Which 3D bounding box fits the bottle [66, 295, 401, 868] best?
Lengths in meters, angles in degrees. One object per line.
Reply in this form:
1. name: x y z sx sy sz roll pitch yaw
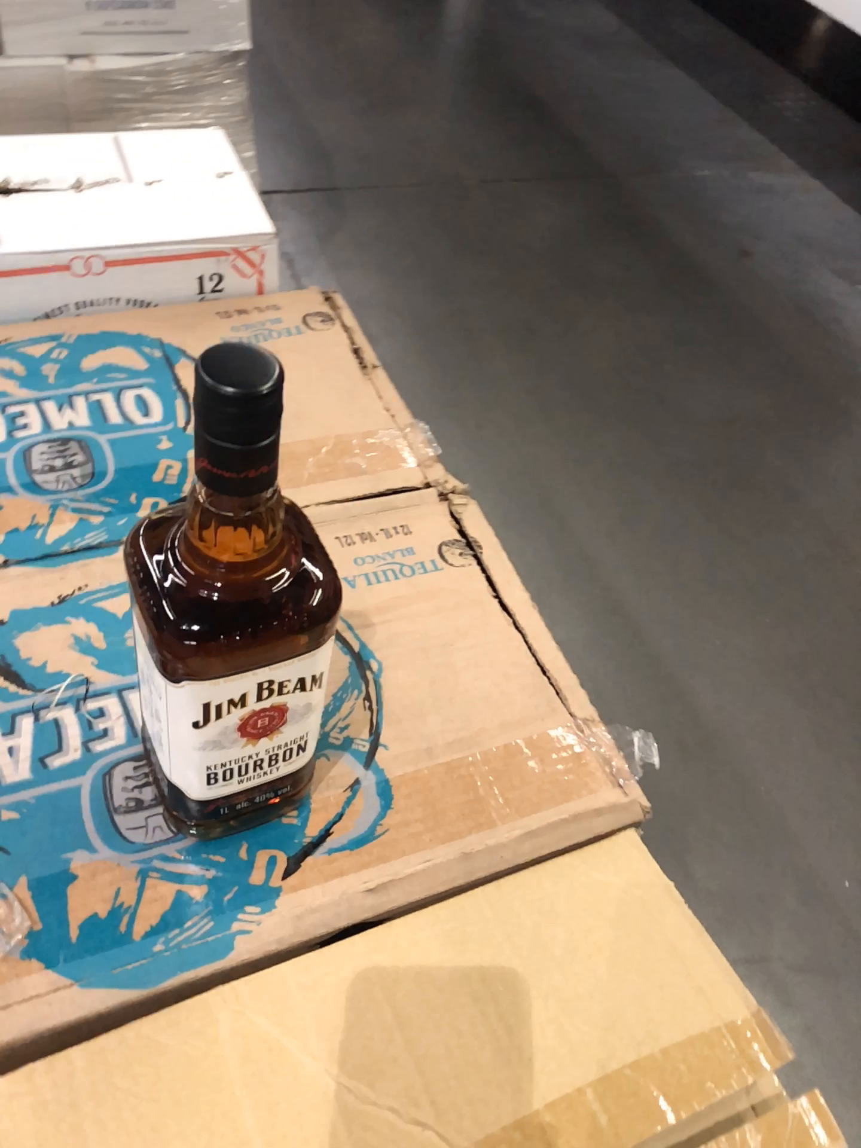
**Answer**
1. bottle: -0.088 0.019 0.418 0.090 0.258 0.087 6 48 -6
